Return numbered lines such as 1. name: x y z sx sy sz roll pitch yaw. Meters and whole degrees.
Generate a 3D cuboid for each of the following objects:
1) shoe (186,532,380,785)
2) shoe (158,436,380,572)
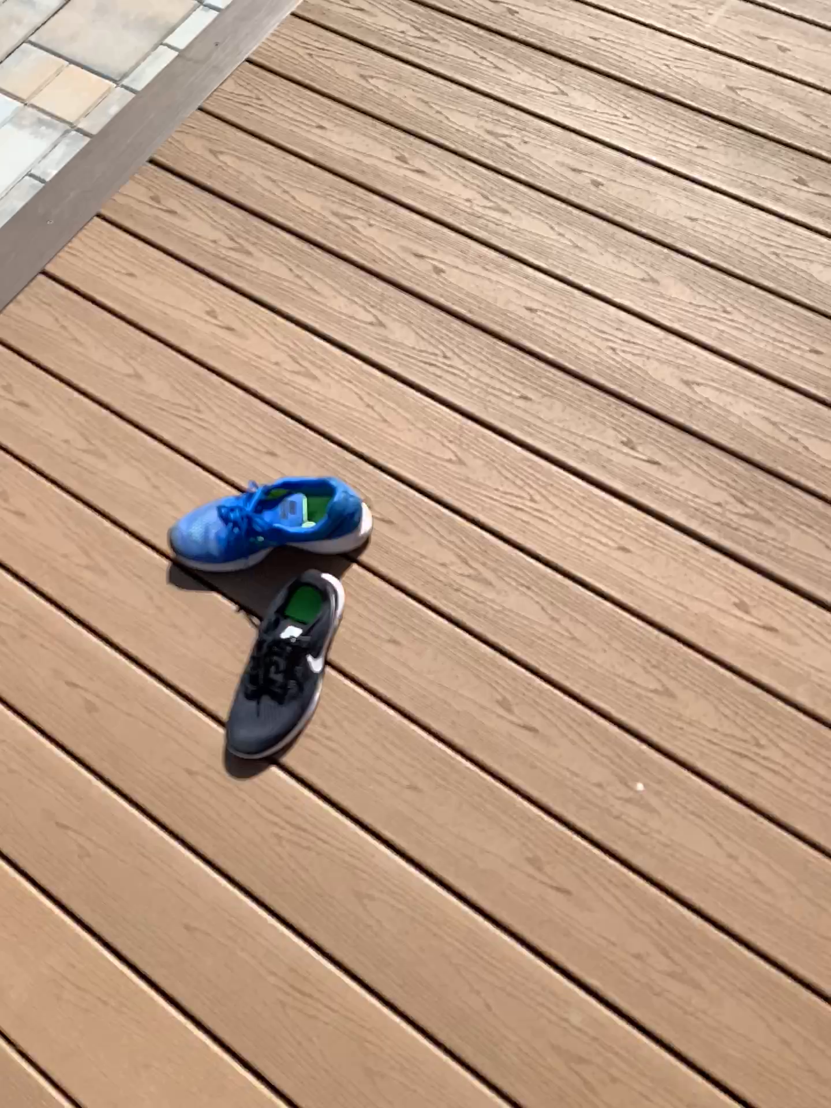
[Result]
1. shoe: -0.166 0.137 1.112 0.120 0.110 0.290 20 70 13
2. shoe: -0.207 -0.069 1.216 0.290 0.130 0.120 -6 67 2
